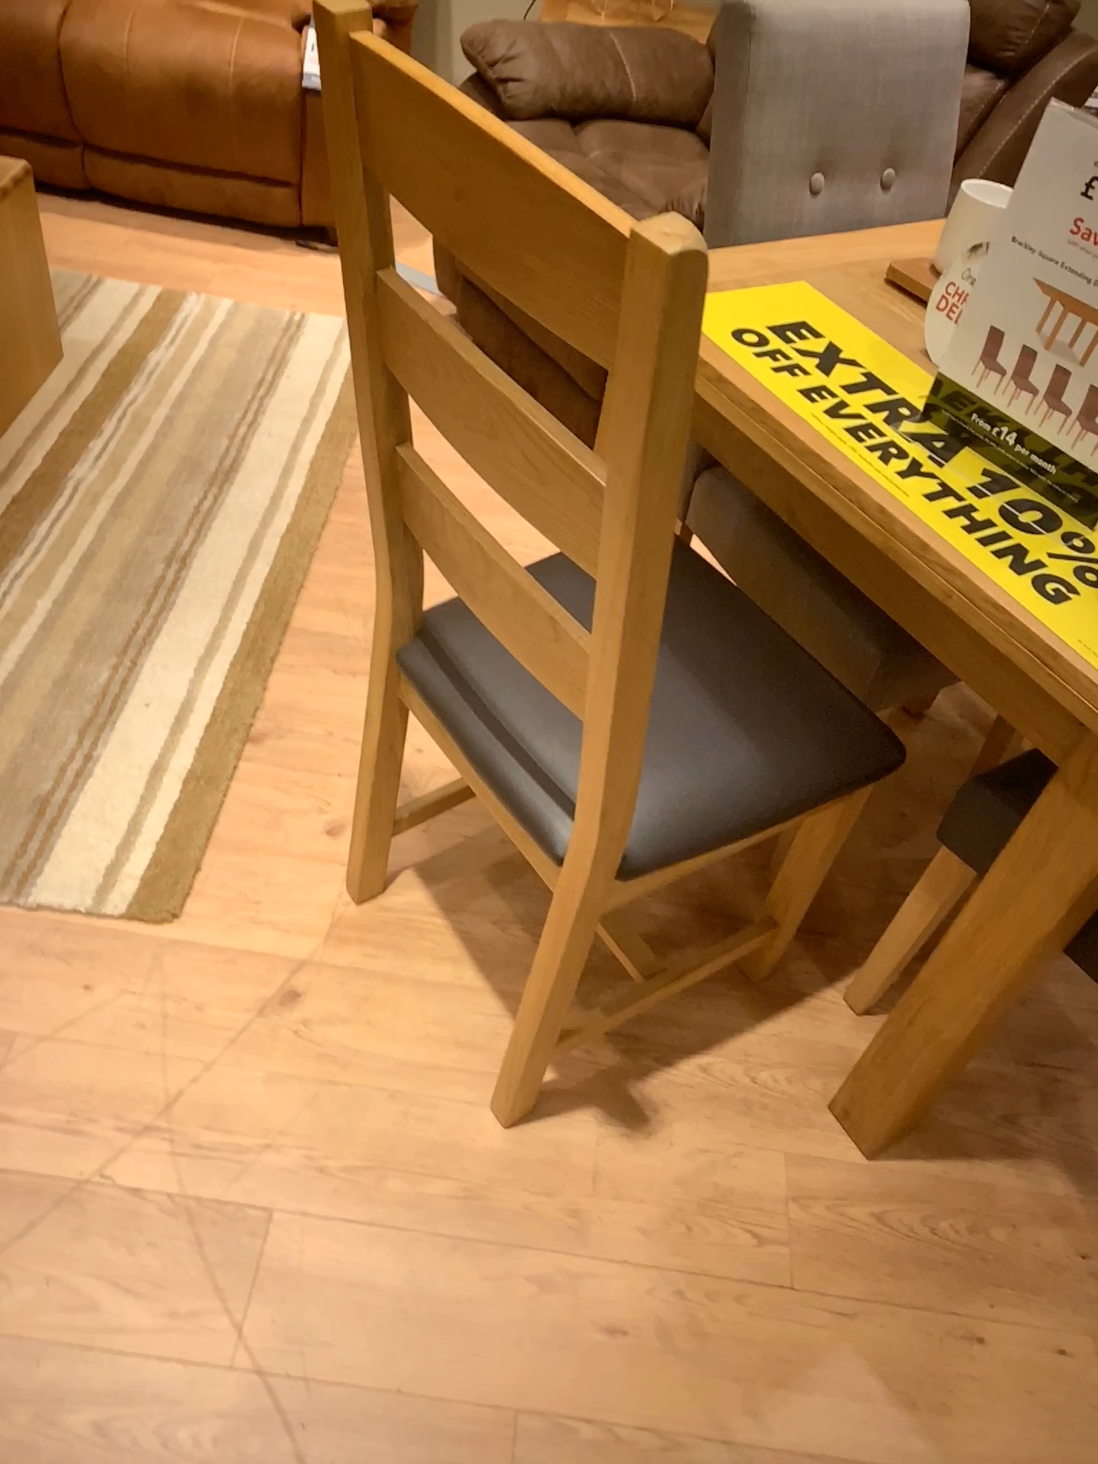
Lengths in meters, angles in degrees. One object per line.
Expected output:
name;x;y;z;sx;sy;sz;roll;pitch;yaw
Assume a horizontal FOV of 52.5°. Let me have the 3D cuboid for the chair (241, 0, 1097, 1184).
chair;0.101;-0.127;1.116;0.579;0.958;0.557;-23;56;-30
